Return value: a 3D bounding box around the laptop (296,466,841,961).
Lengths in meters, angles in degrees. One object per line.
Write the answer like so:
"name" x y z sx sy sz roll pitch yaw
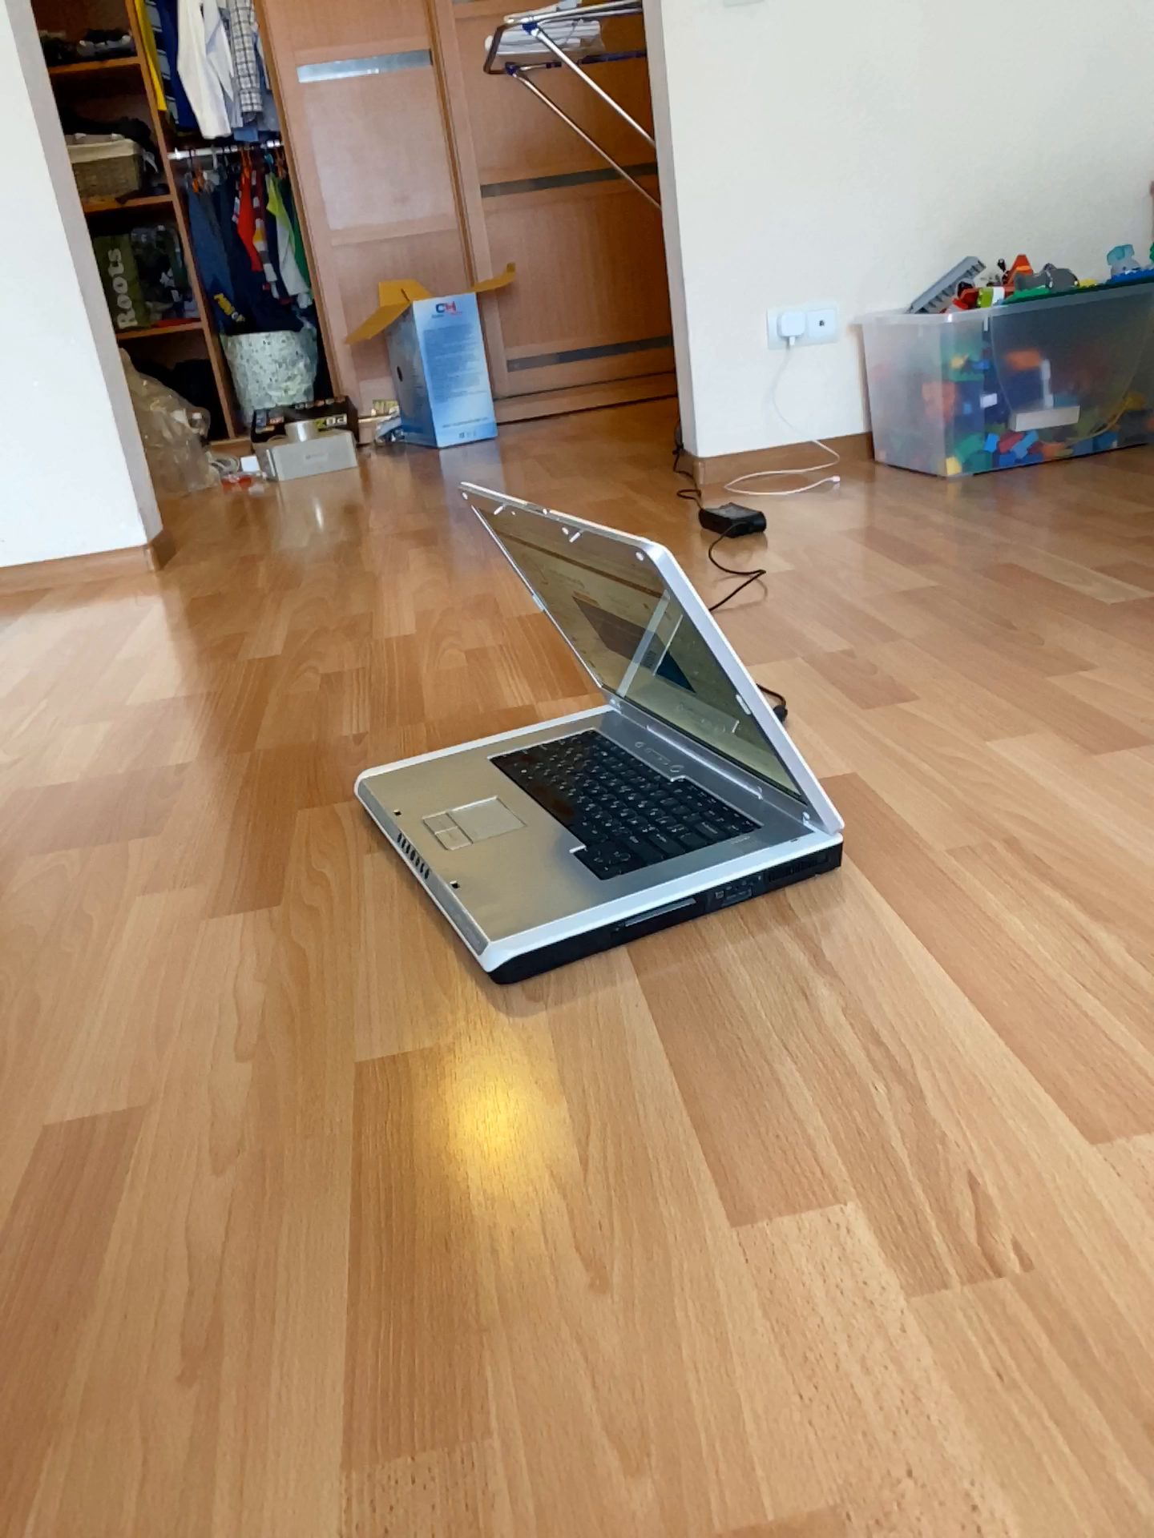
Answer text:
"laptop" -0.025 -0.080 0.930 0.273 0.238 0.388 -16 23 -20
